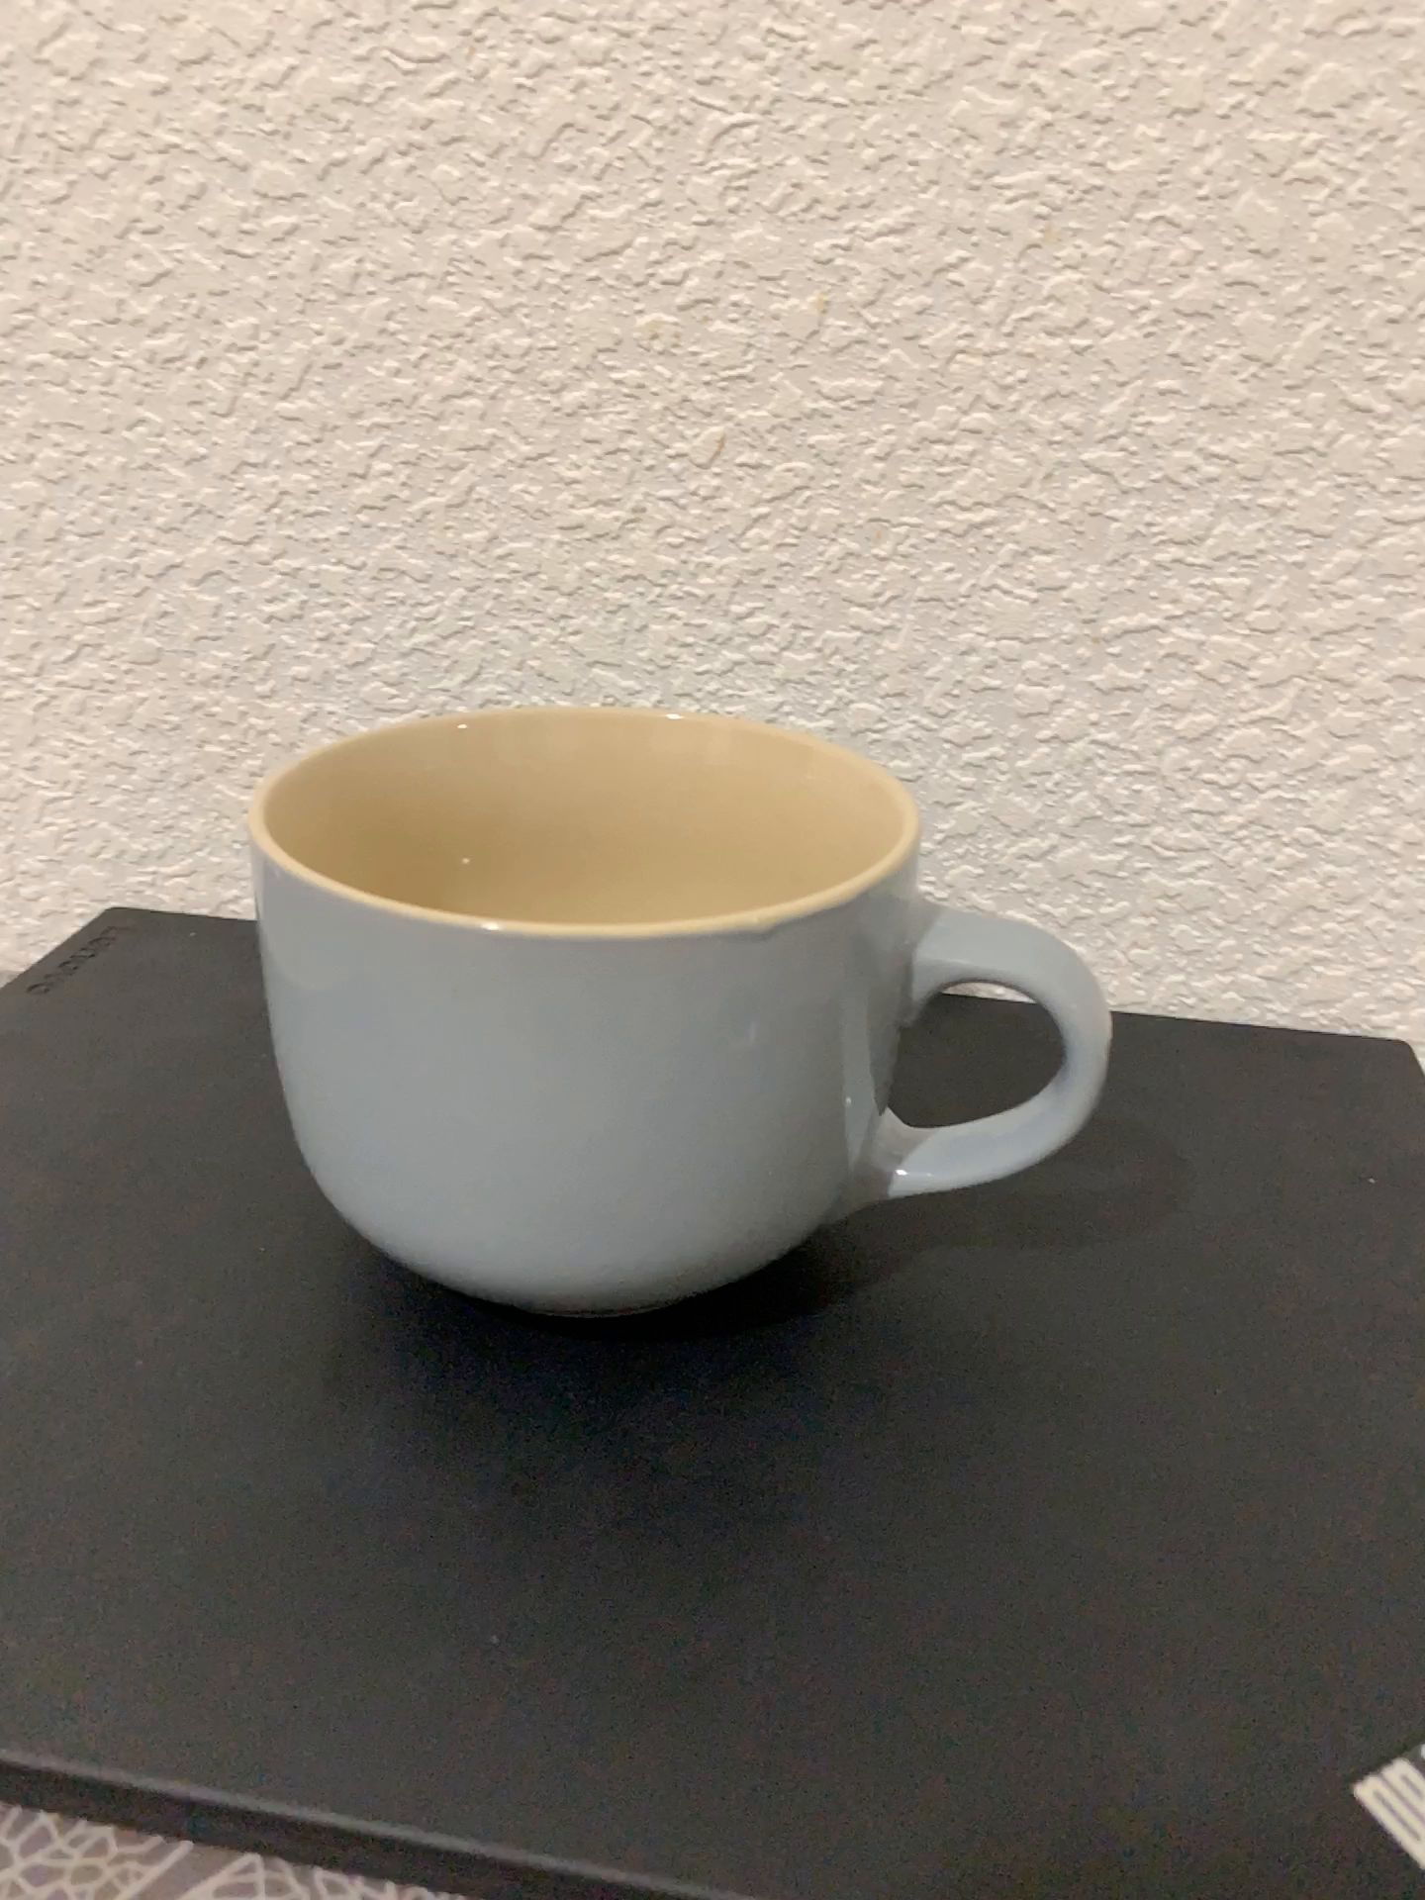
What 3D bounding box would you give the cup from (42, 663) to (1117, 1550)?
[{"bbox_3d":[-0.010,0.011,0.241,0.133,0.079,0.111,9,26,15],"label":"cup"}]
